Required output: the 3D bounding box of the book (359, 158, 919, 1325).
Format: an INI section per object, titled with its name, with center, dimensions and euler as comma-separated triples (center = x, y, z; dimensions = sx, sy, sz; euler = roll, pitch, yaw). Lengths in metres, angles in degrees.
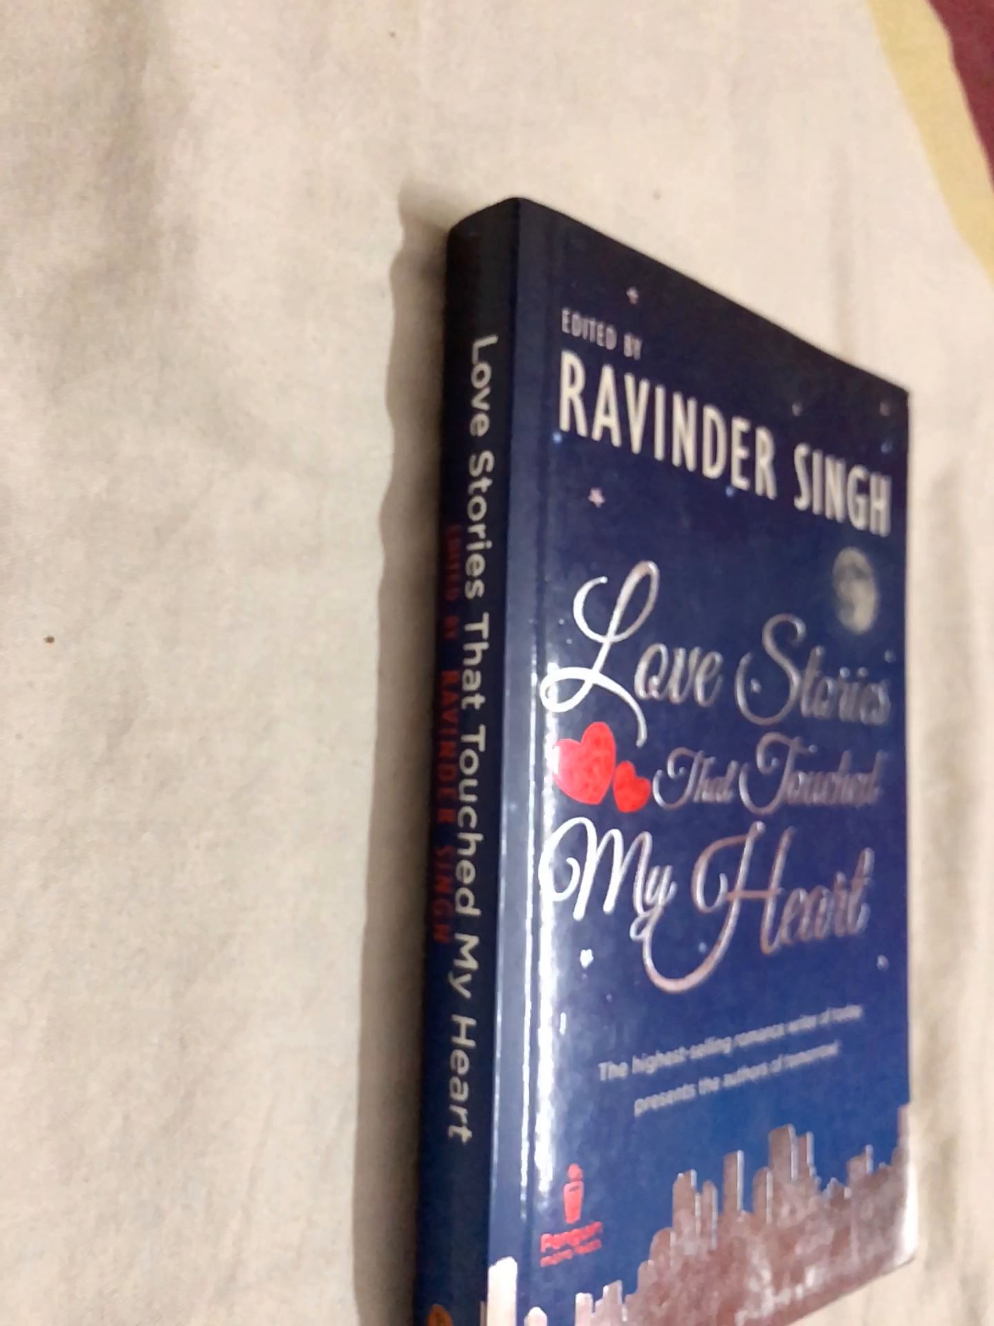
[book]
center = 0.038, 0.028, 0.231
dimensions = 0.131, 0.030, 0.210
euler = 6, 84, -41
